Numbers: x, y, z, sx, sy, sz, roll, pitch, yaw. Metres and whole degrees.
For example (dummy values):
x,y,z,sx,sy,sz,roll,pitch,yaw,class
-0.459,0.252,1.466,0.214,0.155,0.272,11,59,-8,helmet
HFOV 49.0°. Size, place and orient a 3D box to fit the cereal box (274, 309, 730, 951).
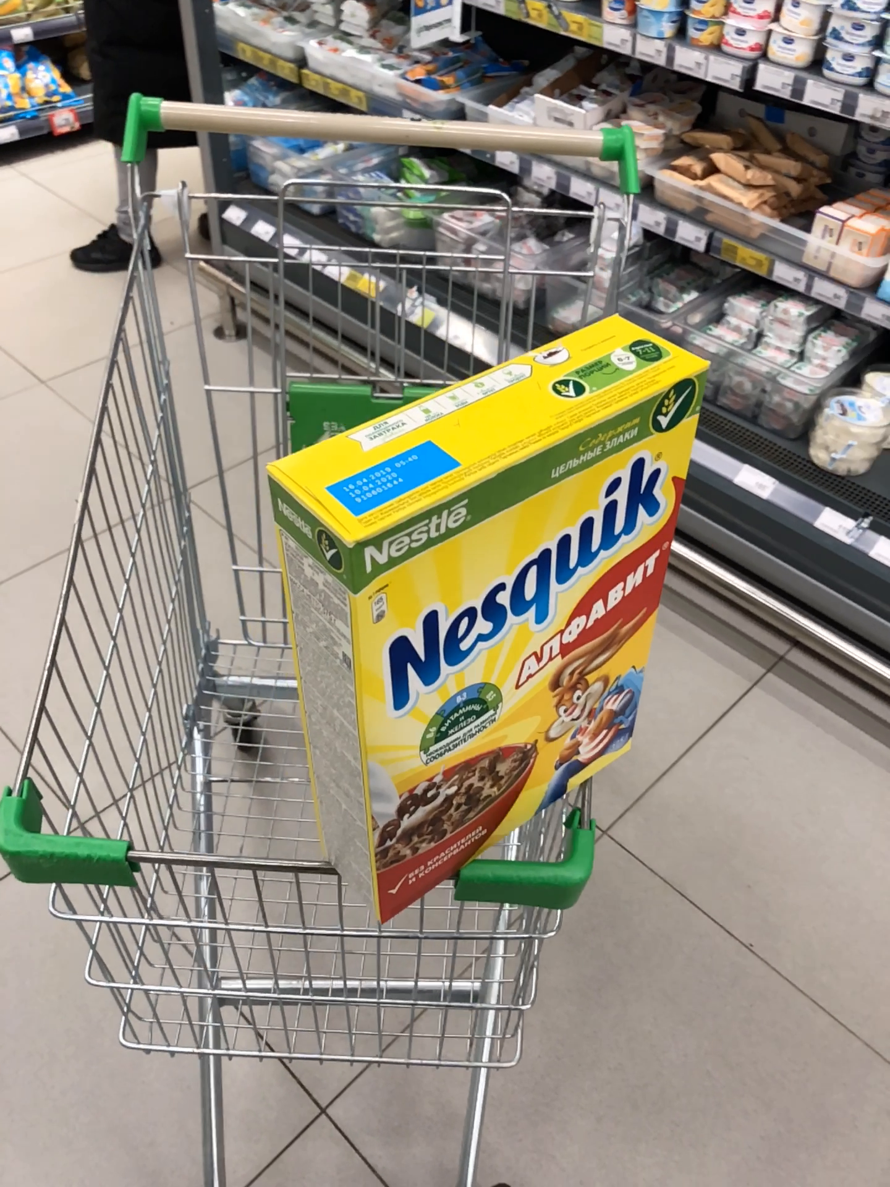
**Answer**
x,y,z,sx,sy,sz,roll,pitch,yaw,class
0.028,0.029,0.499,0.201,0.288,0.060,-30,51,-29,cereal box
